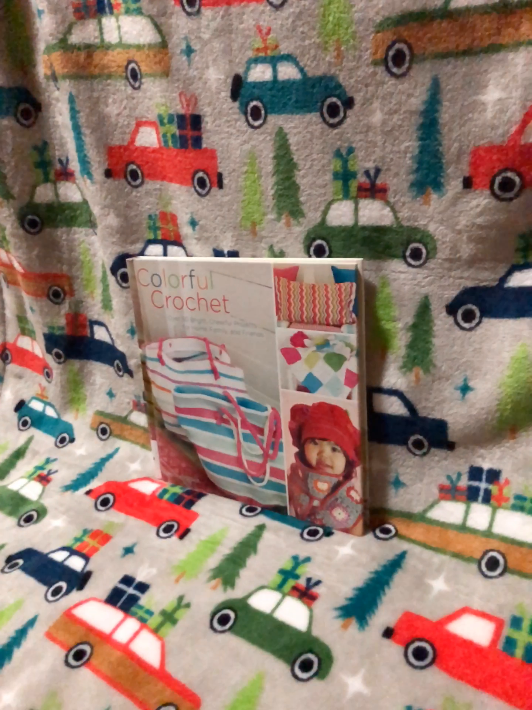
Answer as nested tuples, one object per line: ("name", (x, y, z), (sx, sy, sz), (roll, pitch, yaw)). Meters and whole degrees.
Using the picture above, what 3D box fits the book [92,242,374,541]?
("book", (-0.025, 0.024, 0.442), (0.203, 0.214, 0.020), (7, 28, 30))
